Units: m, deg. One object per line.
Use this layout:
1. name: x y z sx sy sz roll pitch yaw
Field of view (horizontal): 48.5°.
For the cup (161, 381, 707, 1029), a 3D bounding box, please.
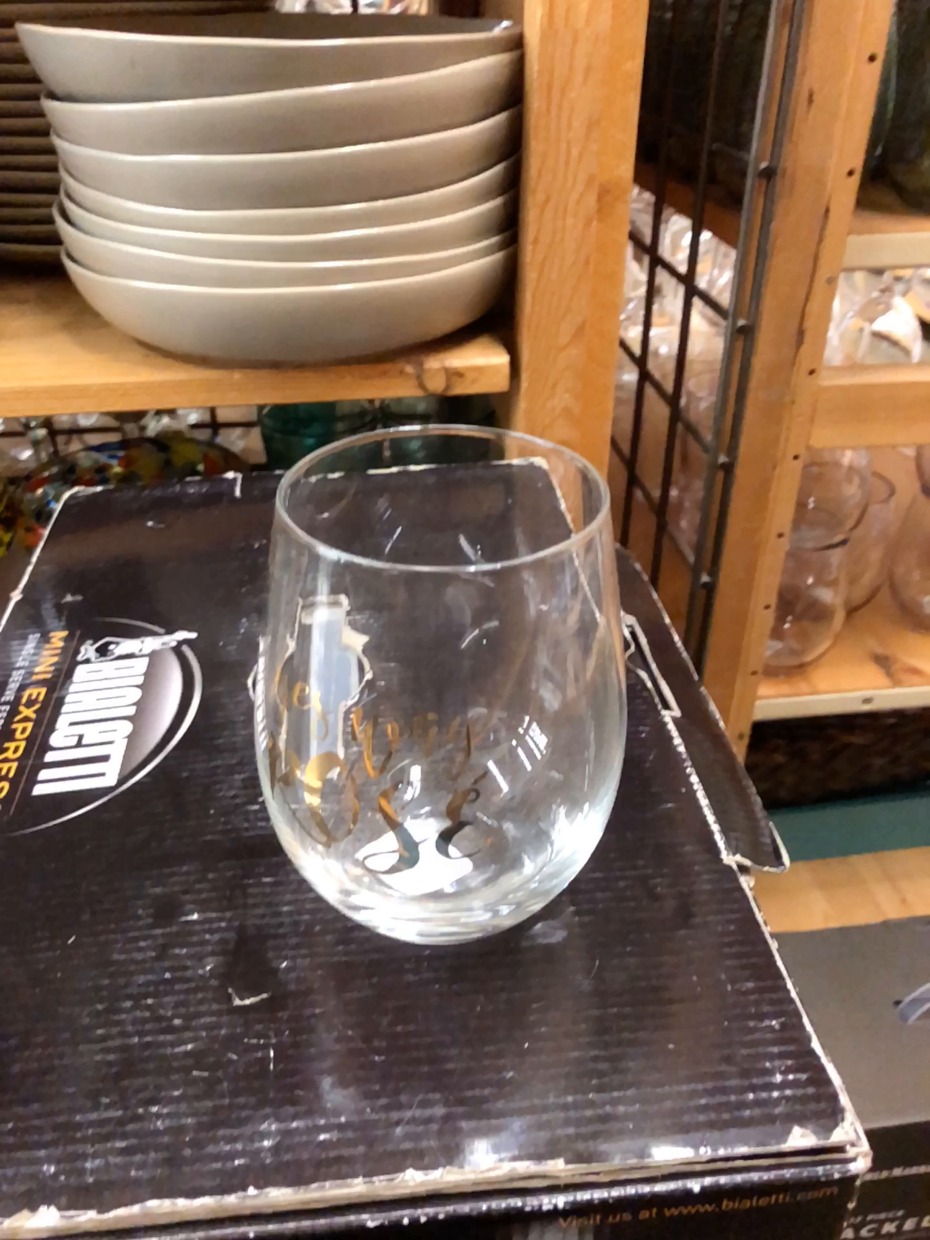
1. cup: 0.000 0.015 0.257 0.096 0.114 0.091 0 32 0
